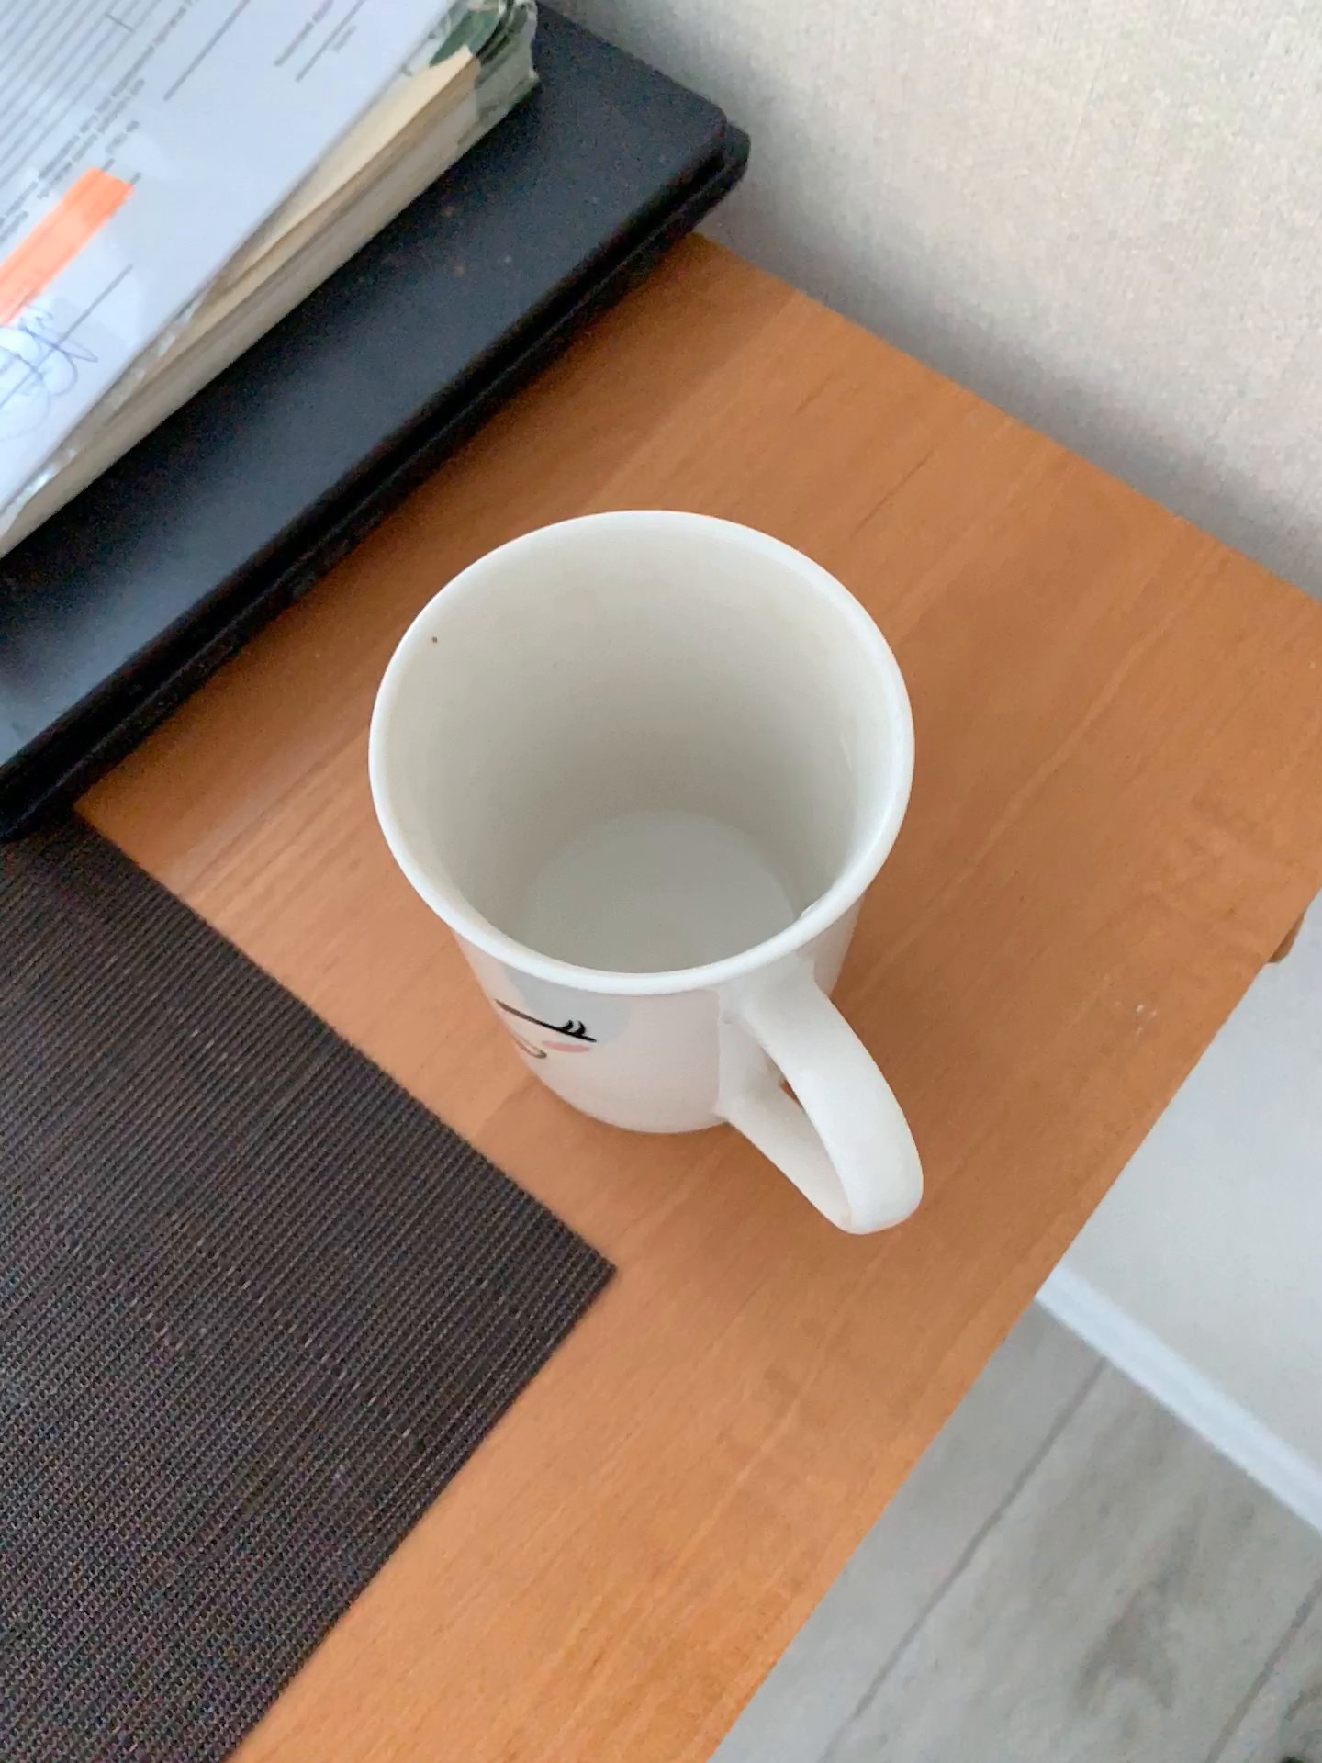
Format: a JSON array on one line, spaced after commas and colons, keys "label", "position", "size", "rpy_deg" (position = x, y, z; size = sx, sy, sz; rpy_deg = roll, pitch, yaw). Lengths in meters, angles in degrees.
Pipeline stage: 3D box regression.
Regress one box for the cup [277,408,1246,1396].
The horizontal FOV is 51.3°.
[{"label": "cup", "position": [0.009, 0.010, 0.221], "size": [0.080, 0.095, 0.107], "rpy_deg": [-29, 70, -12]}]
